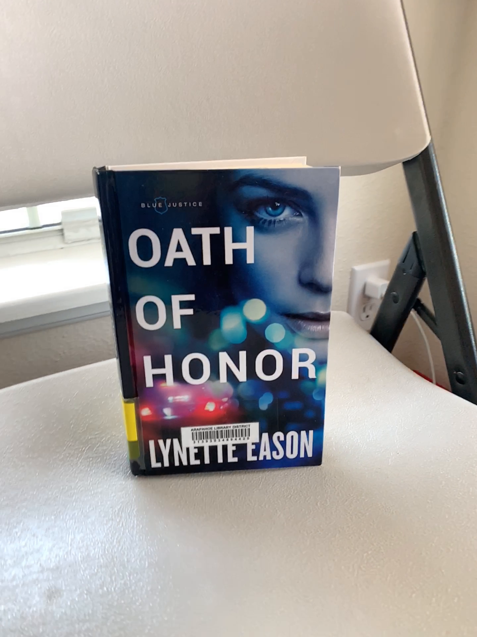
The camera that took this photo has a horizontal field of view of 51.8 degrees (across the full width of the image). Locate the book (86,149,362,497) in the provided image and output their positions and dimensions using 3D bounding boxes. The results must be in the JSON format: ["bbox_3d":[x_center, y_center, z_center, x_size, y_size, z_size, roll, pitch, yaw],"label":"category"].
[{"bbox_3d":[-0.006,0.002,0.339,0.154,0.217,0.063,-6,22,-9],"label":"book"}]
